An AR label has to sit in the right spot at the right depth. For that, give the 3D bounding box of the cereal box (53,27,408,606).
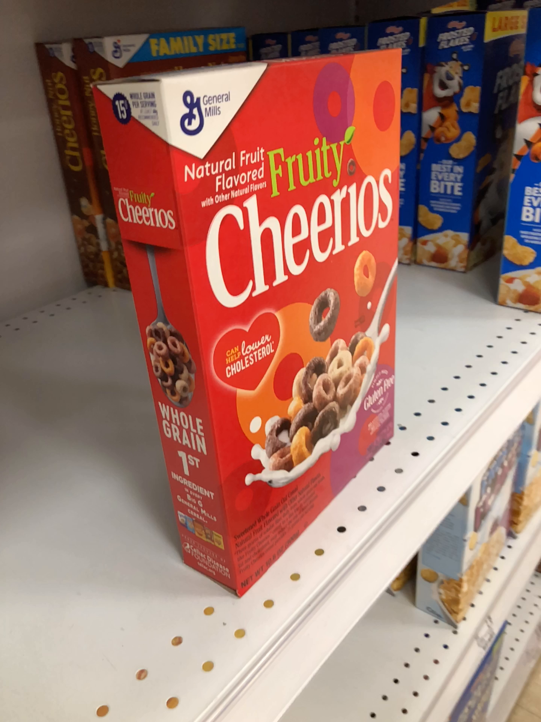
[{"bbox_3d":[0.006,-0.032,0.367,0.060,0.289,0.200,17,35,35],"label":"cereal box"}]
